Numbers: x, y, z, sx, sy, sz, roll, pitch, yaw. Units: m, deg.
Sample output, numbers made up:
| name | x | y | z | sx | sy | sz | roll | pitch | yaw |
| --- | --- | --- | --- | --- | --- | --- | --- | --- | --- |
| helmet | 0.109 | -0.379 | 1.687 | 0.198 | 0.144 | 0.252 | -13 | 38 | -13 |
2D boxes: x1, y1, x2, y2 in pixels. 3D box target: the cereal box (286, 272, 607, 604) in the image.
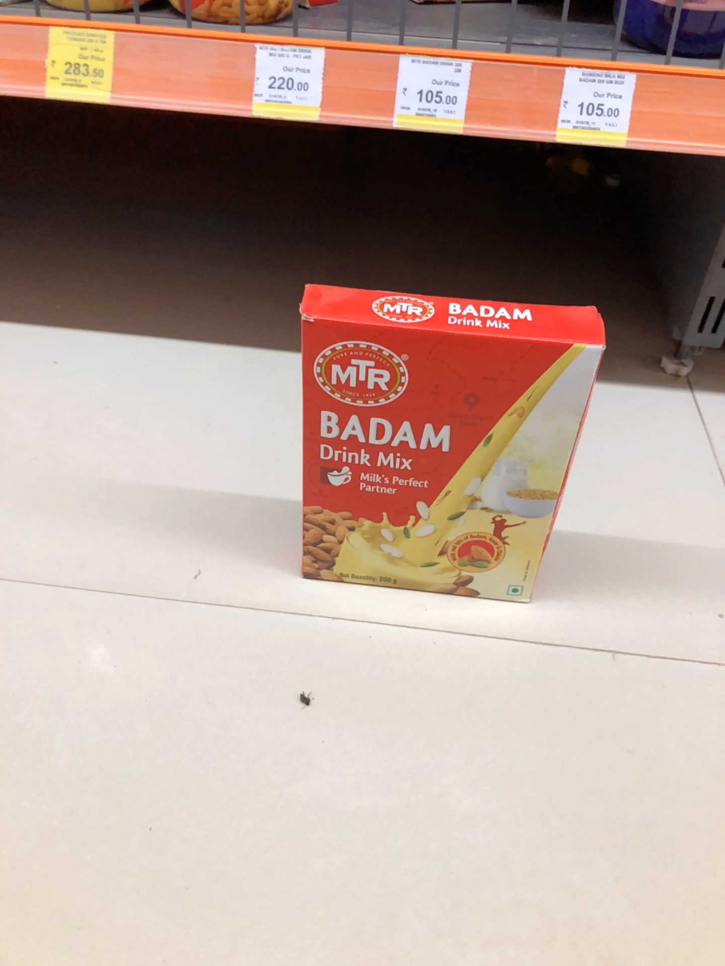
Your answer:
| name | x | y | z | sx | sy | sz | roll | pitch | yaw |
| --- | --- | --- | --- | --- | --- | --- | --- | --- | --- |
| cereal box | 0.032 | -0.015 | 0.391 | 0.130 | 0.159 | 0.040 | 5 | 41 | 2 |
